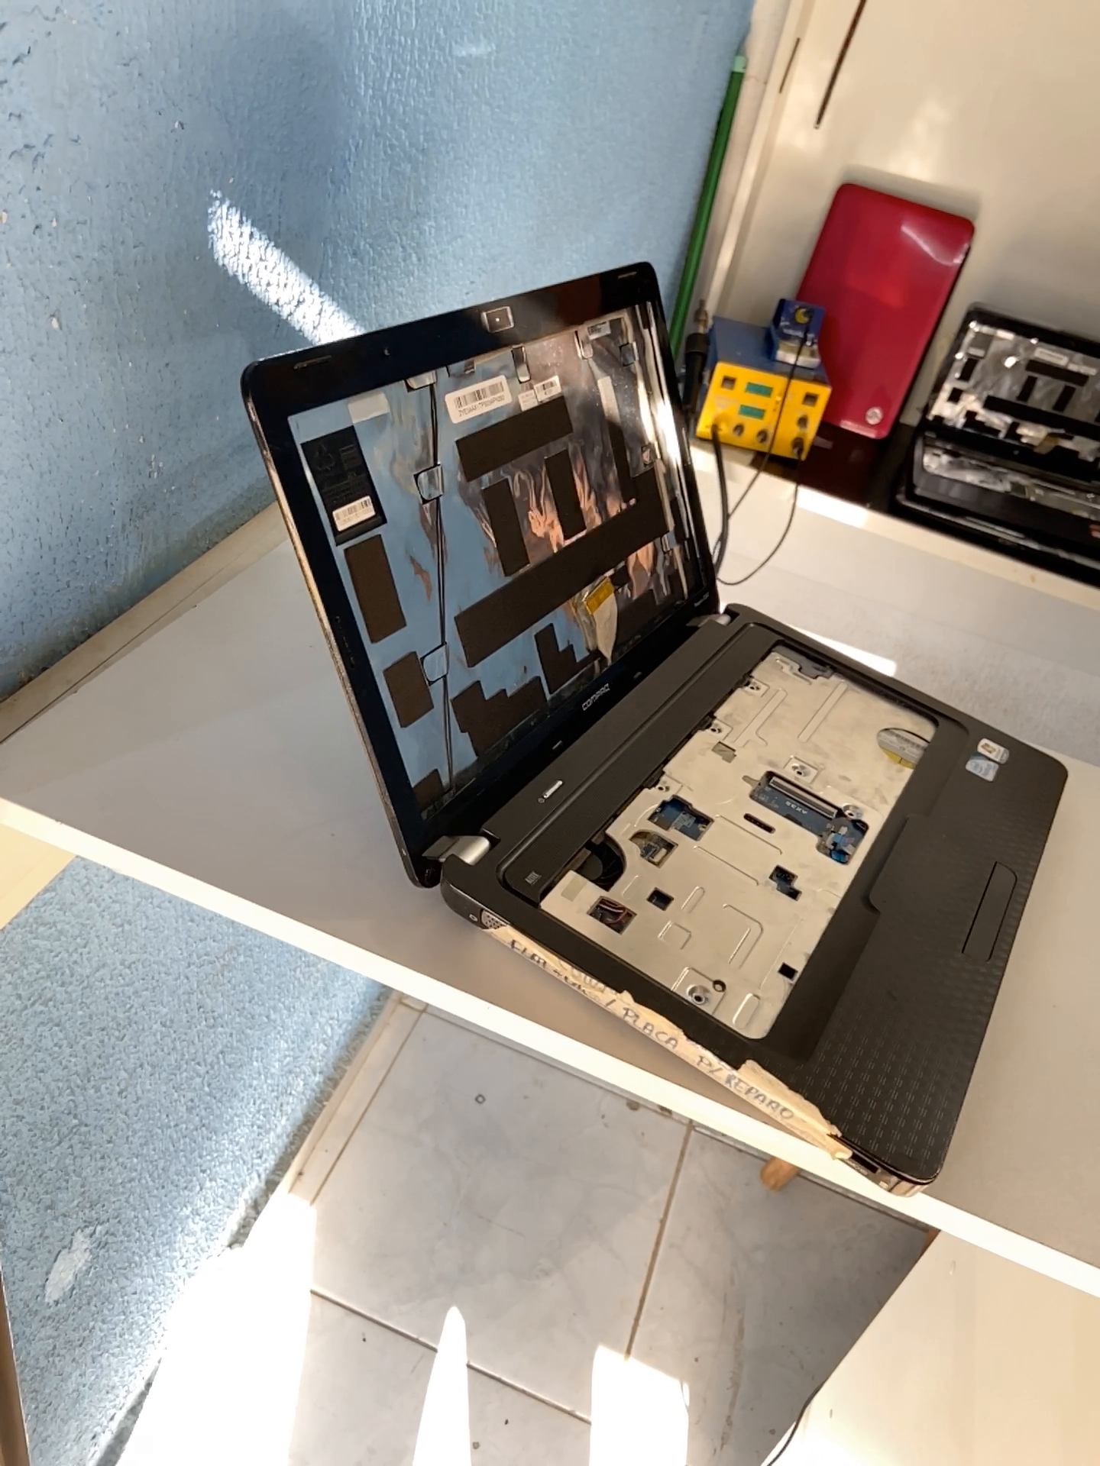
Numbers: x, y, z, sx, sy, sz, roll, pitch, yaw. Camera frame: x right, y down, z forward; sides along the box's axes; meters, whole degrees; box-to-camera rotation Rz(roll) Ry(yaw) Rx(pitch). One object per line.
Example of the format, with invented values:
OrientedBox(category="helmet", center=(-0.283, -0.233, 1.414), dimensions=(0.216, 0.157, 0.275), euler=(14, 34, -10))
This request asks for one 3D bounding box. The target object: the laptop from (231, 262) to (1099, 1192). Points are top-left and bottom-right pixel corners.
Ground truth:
OrientedBox(category="laptop", center=(0.094, -0.054, 0.539), dimensions=(0.335, 0.182, 0.333), euler=(29, 38, 18))
